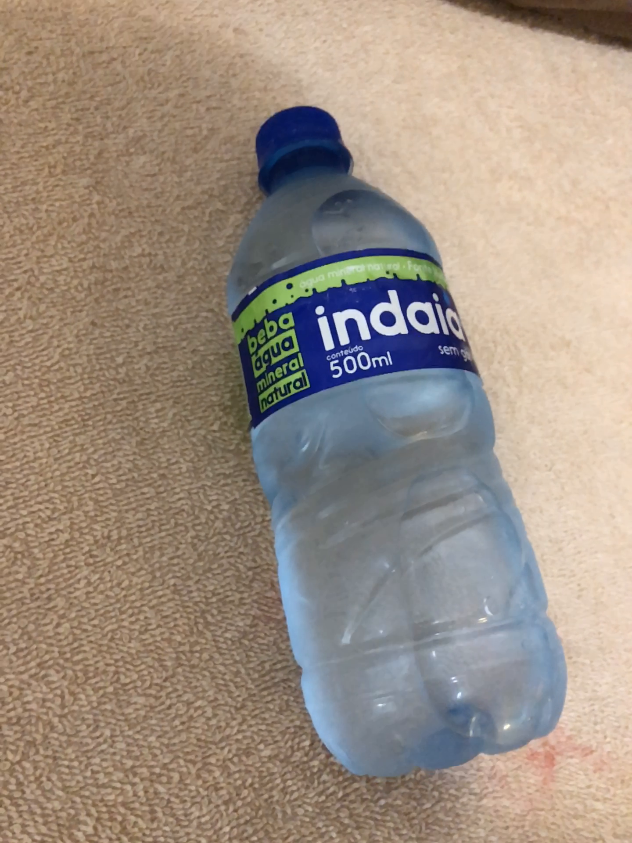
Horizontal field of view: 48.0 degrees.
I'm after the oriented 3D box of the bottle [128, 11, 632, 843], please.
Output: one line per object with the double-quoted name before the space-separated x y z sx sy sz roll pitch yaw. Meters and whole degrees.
"bottle" 0.010 -0.010 0.196 0.080 0.050 0.210 -7 70 -24
